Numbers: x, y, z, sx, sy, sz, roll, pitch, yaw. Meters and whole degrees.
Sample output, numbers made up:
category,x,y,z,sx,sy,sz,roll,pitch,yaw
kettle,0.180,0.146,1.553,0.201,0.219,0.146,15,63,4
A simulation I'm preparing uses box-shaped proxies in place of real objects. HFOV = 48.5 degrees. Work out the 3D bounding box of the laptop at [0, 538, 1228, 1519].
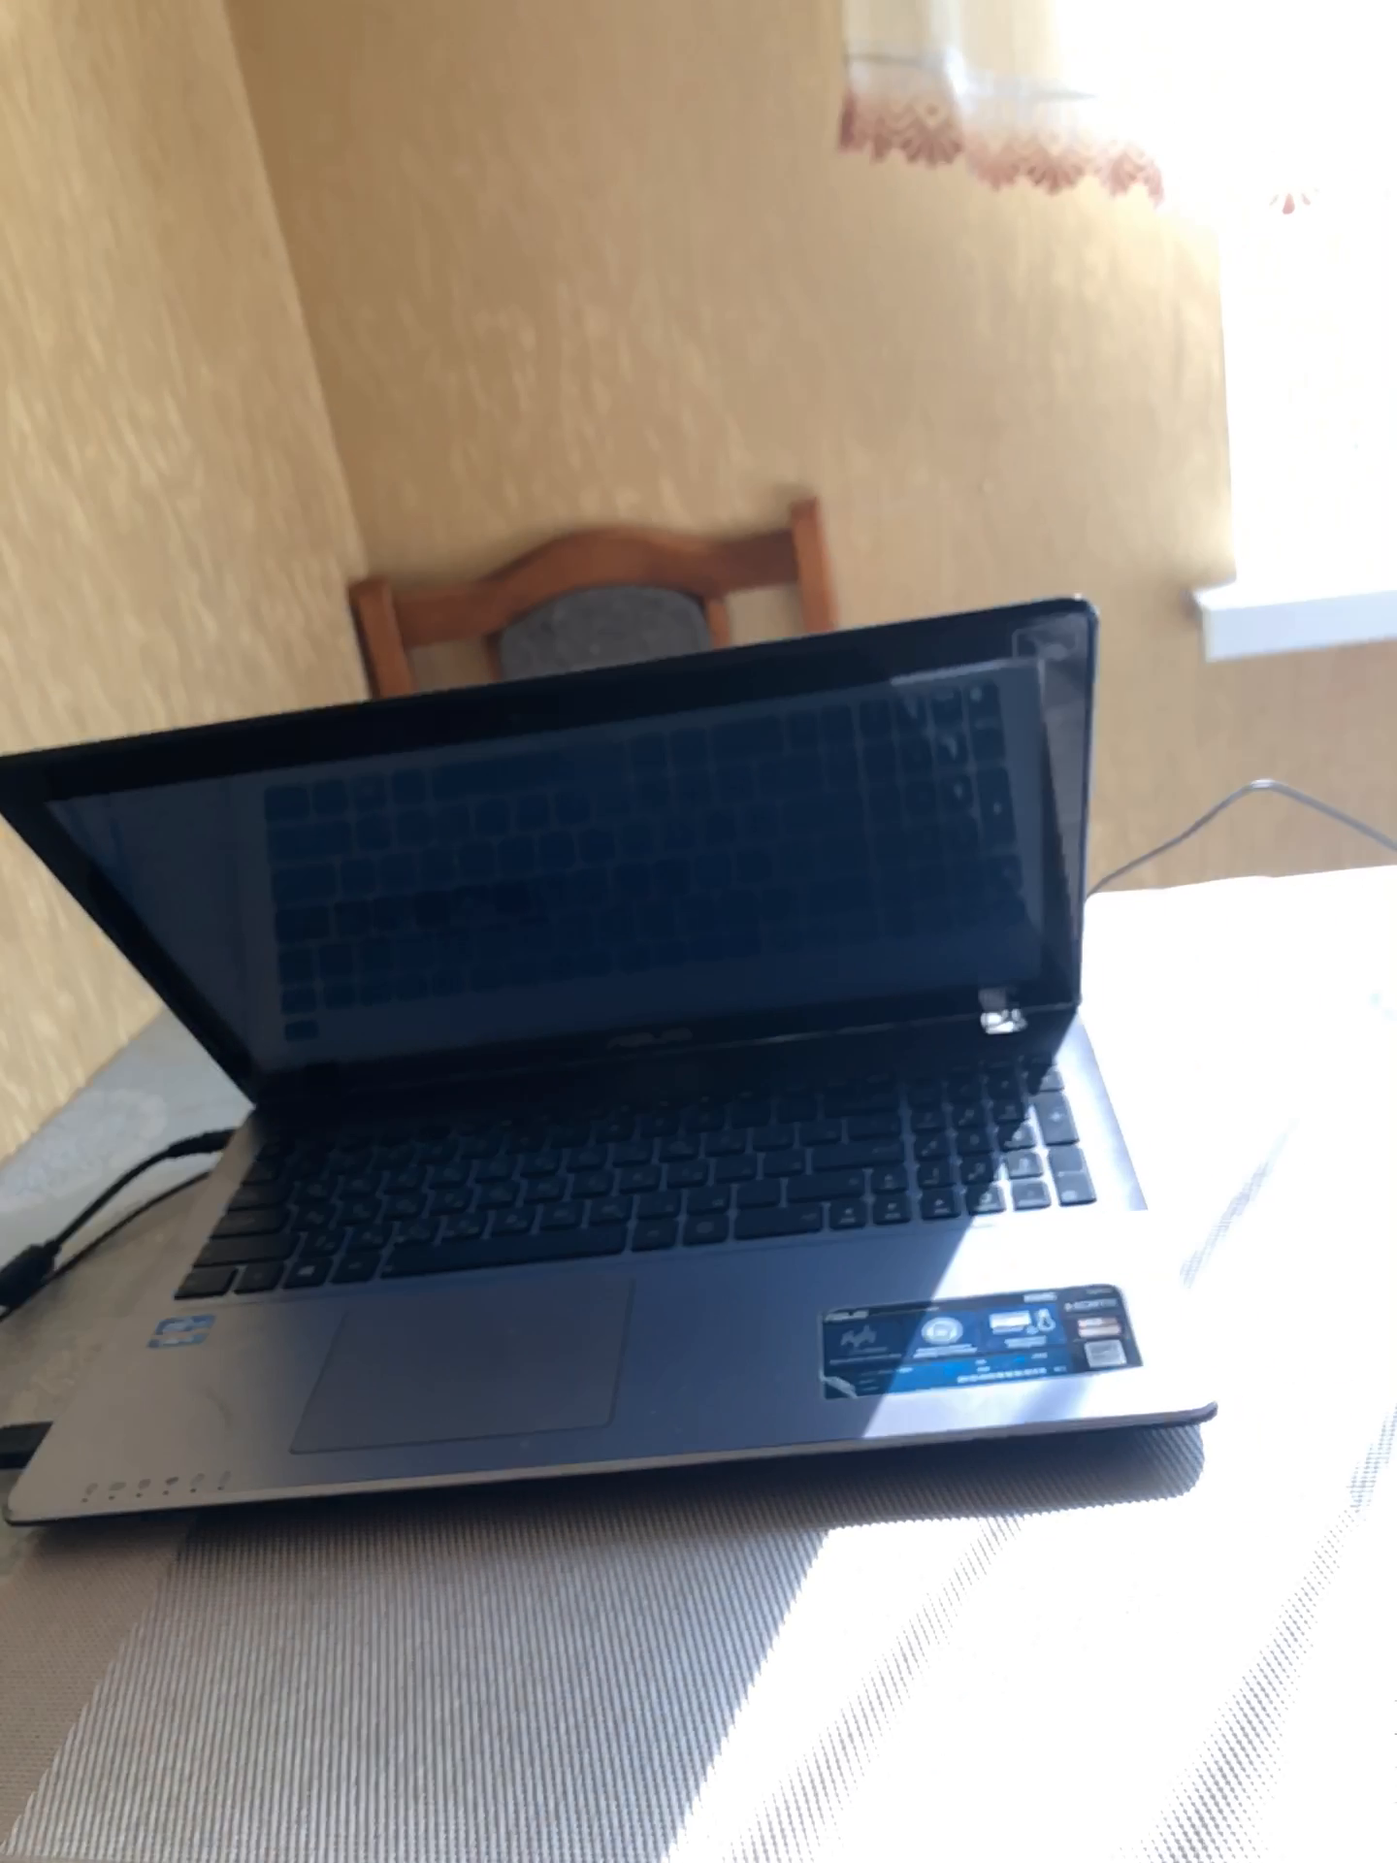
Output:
category,x,y,z,sx,sy,sz,roll,pitch,yaw
laptop,-0.044,0.017,0.530,0.369,0.196,0.243,-8,23,7
